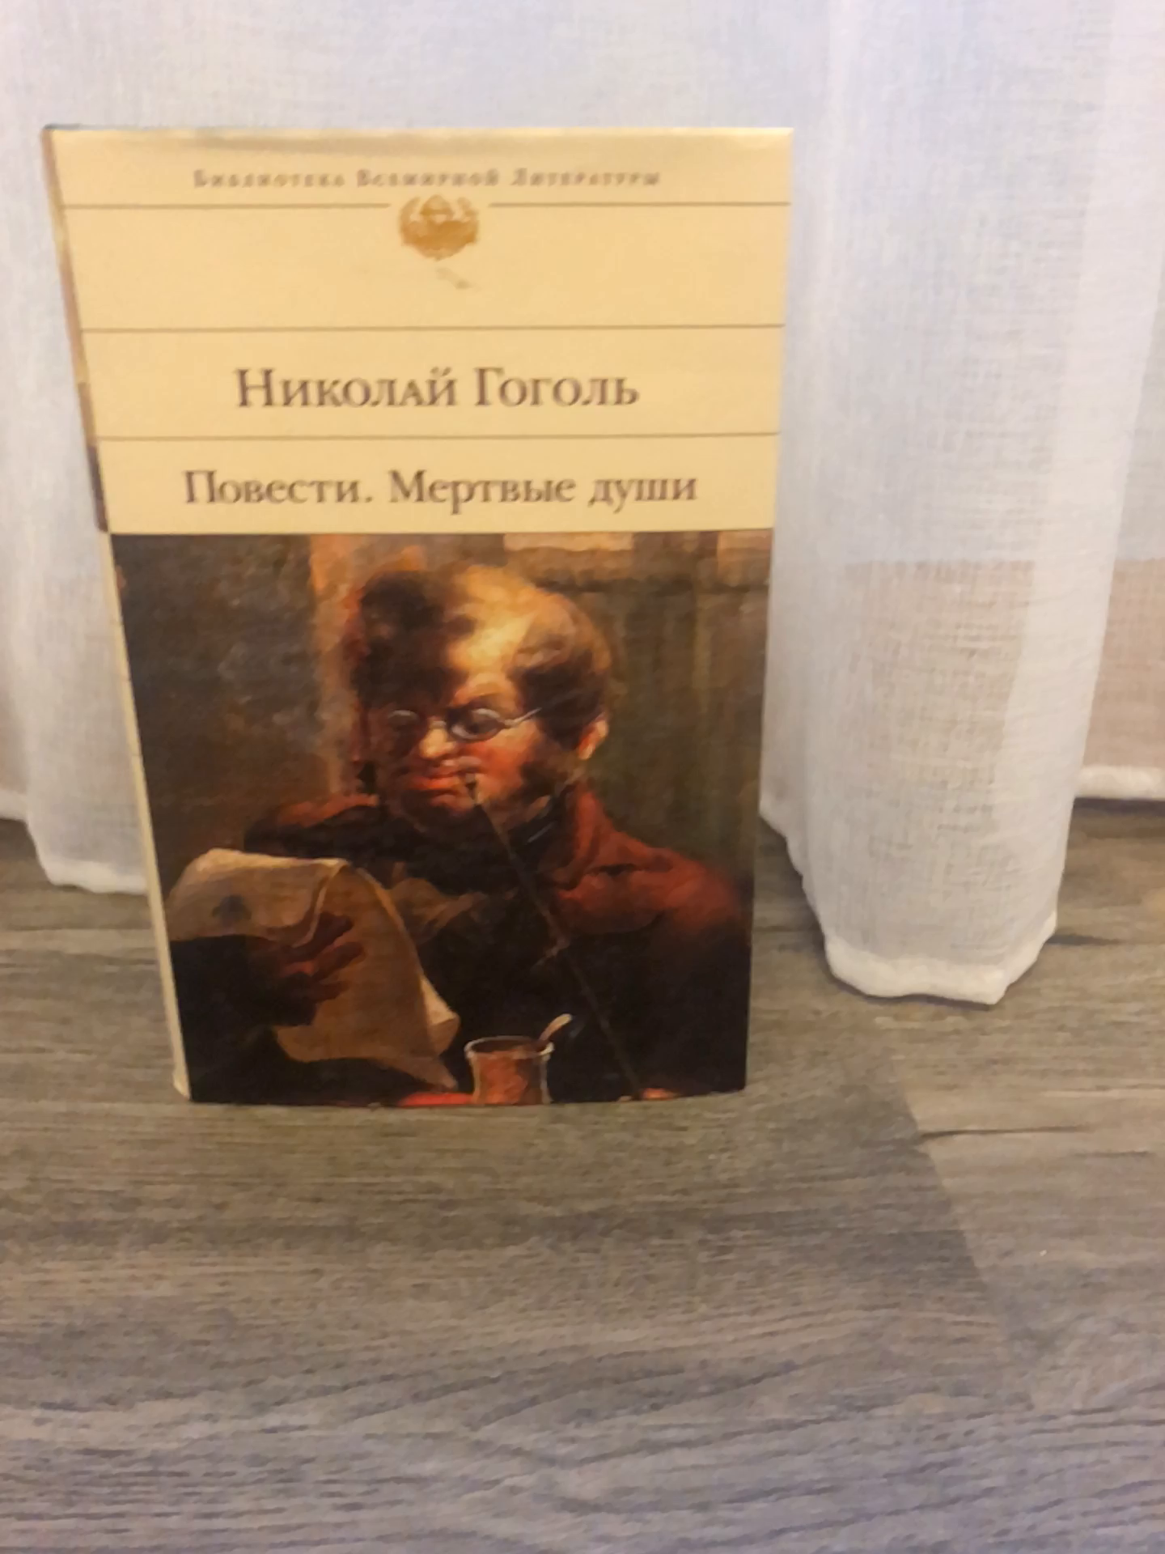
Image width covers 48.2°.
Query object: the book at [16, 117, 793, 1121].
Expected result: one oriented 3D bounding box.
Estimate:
[{"bbox_3d":[-0.030,-0.025,0.284,0.133,0.209,0.041,-1,23,-2],"label":"book"}]
